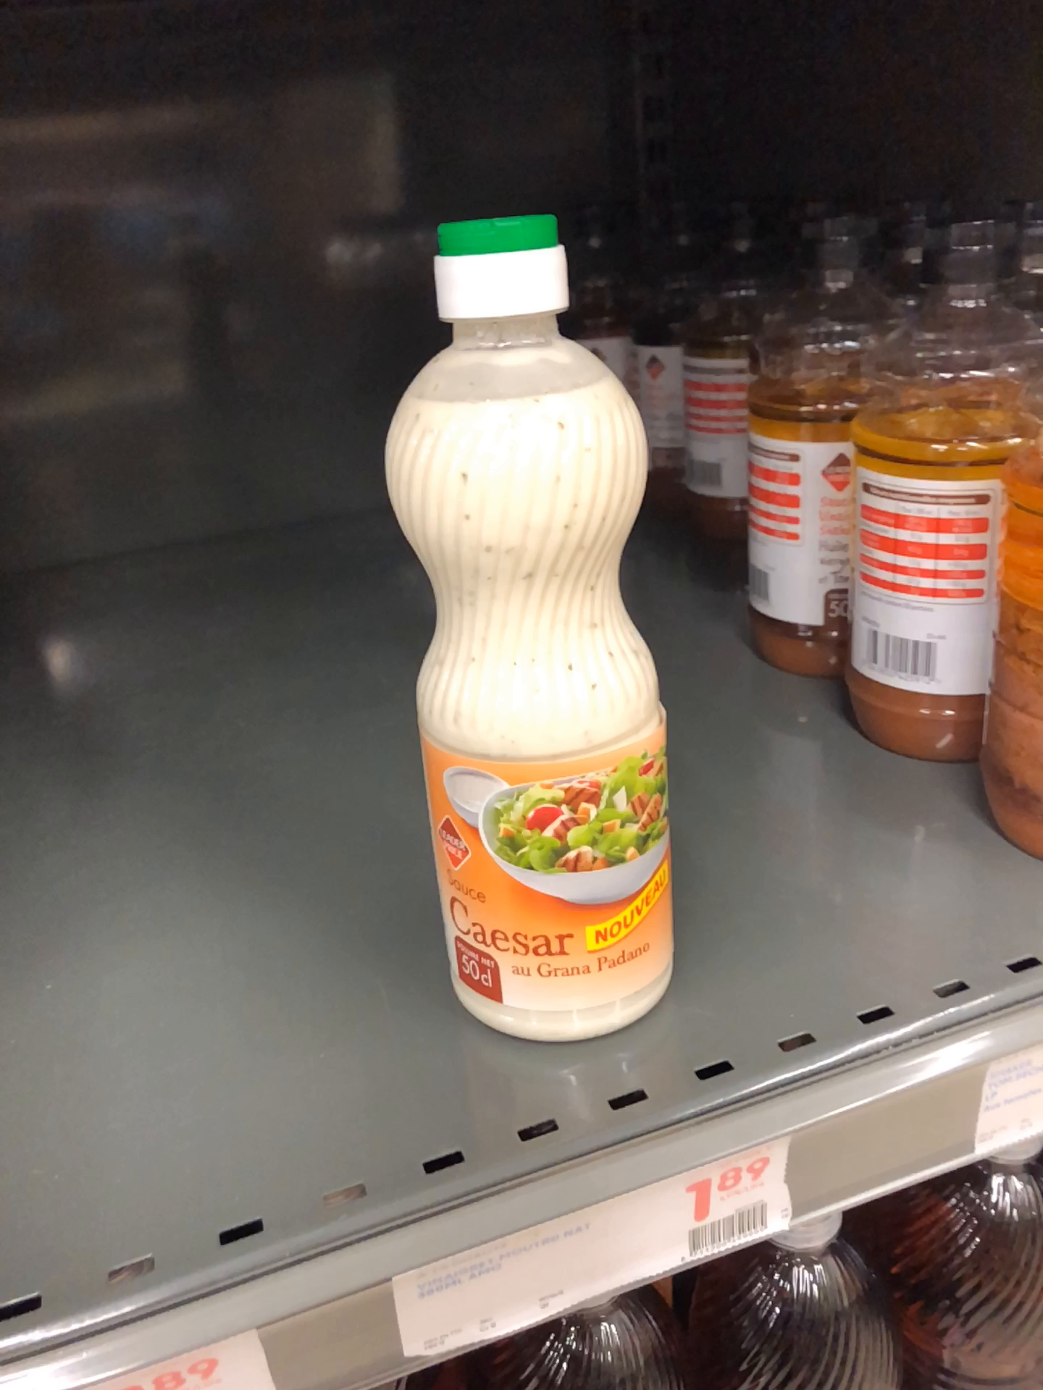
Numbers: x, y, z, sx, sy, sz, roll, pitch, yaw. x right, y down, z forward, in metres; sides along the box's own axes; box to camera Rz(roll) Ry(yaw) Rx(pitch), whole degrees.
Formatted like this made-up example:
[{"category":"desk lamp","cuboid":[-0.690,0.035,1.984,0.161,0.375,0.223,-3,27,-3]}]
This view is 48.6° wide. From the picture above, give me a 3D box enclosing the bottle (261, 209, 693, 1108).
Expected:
[{"category":"bottle","cuboid":[-0.009,-0.010,0.328,0.080,0.229,0.080,-4,23,2]}]
